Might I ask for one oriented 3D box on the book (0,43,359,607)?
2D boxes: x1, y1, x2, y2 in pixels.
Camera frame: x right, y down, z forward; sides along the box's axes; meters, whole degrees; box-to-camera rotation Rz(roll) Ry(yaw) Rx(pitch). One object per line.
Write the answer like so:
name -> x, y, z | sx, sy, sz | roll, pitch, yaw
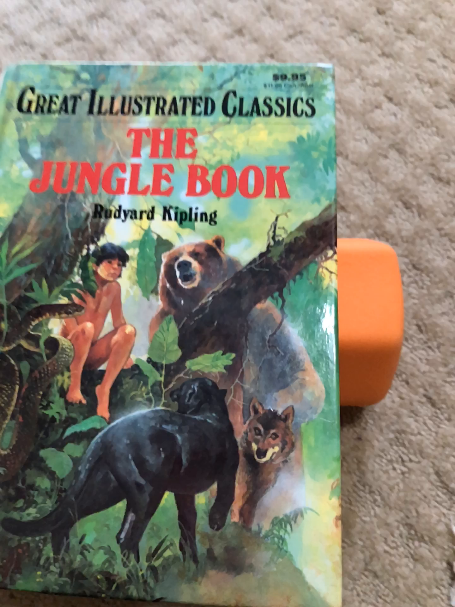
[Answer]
book -> -0.026, -0.004, 0.196 | 0.140, 0.029, 0.208 | 2, 73, 3
